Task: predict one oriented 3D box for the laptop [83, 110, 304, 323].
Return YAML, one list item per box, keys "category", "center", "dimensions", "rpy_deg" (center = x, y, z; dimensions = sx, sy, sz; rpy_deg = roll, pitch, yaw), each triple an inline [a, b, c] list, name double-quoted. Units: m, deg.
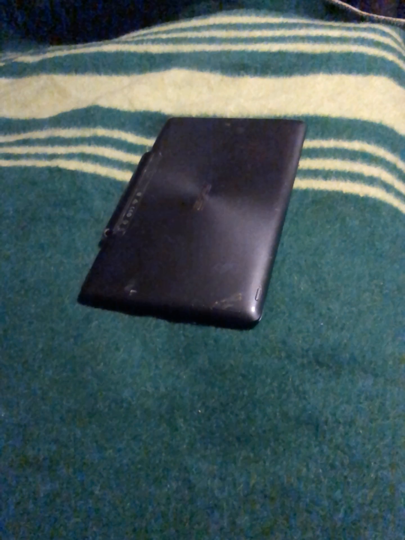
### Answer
- category: "laptop"
  center: [0.002, -0.077, 0.465]
  dimensions: [0.167, 0.017, 0.263]
  rpy_deg: [7, 56, 17]
